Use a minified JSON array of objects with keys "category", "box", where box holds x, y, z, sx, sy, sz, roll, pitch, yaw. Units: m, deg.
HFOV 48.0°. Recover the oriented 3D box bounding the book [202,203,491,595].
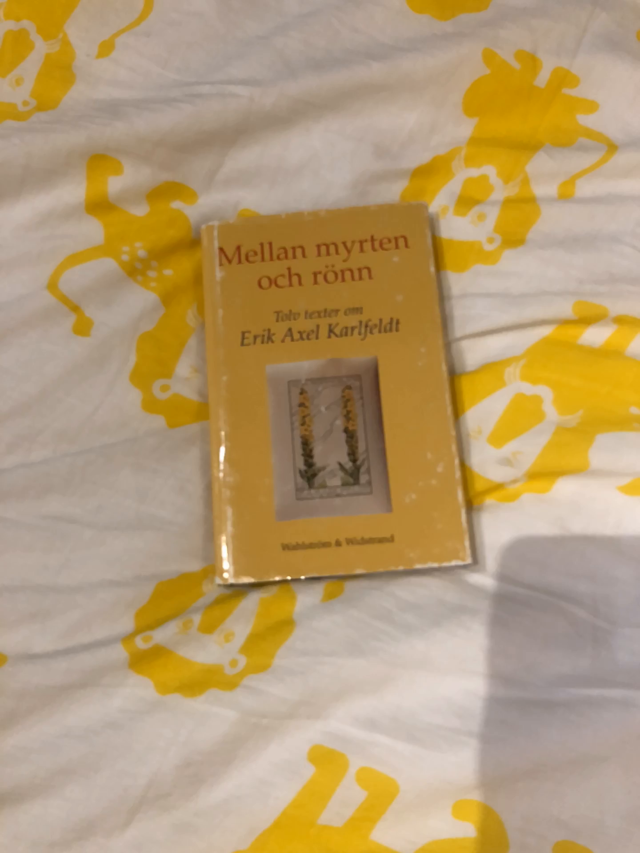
[{"category":"book","box":[0.009,-0.020,0.411,0.141,0.030,0.215,-5,74,1]}]
